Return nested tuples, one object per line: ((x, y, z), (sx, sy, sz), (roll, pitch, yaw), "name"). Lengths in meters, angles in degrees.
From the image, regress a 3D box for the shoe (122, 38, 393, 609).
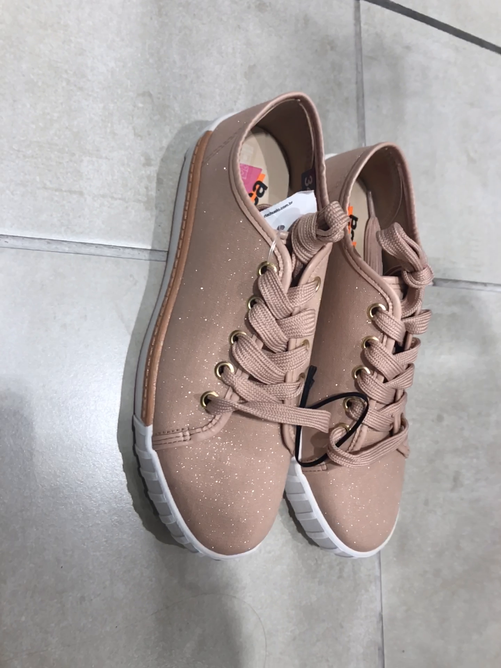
((0.002, -0.003, 0.297), (0.090, 0.100, 0.240), (8, 82, -29), "shoe")

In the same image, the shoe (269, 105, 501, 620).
((0.079, 0.014, 0.326), (0.090, 0.100, 0.240), (1, 85, -29), "shoe")
